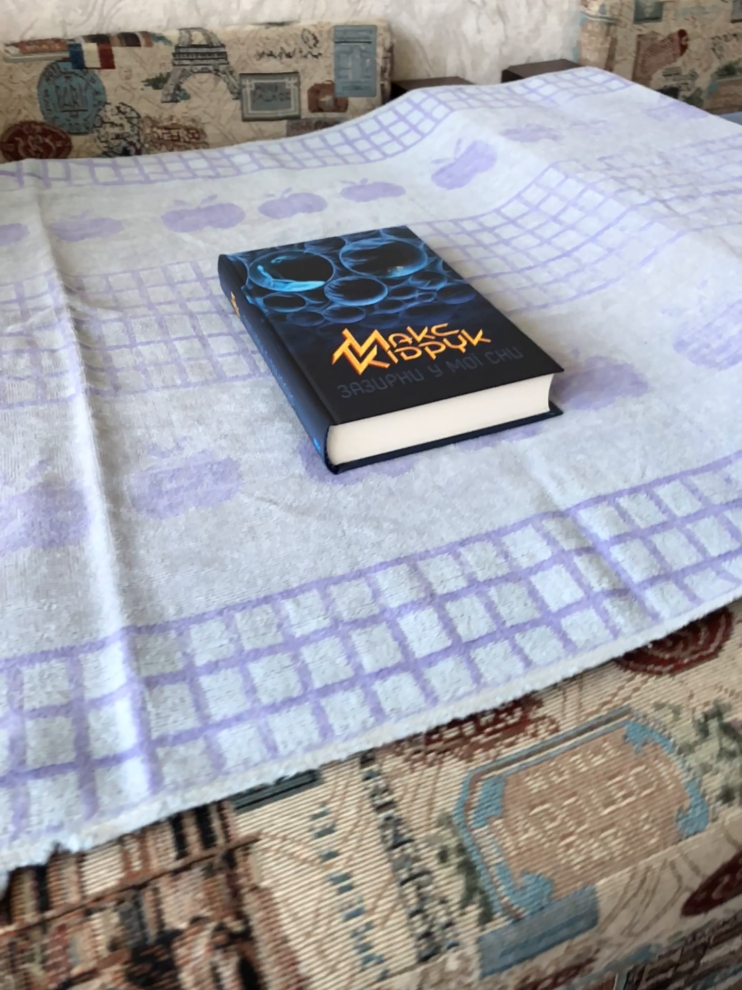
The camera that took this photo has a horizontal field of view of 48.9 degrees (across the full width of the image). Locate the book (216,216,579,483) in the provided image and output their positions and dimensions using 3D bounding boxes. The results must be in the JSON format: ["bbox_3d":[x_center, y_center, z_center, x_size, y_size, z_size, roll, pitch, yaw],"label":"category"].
[{"bbox_3d":[0.003,-0.102,0.495,0.140,0.035,0.221,-14,42,-17],"label":"book"}]
